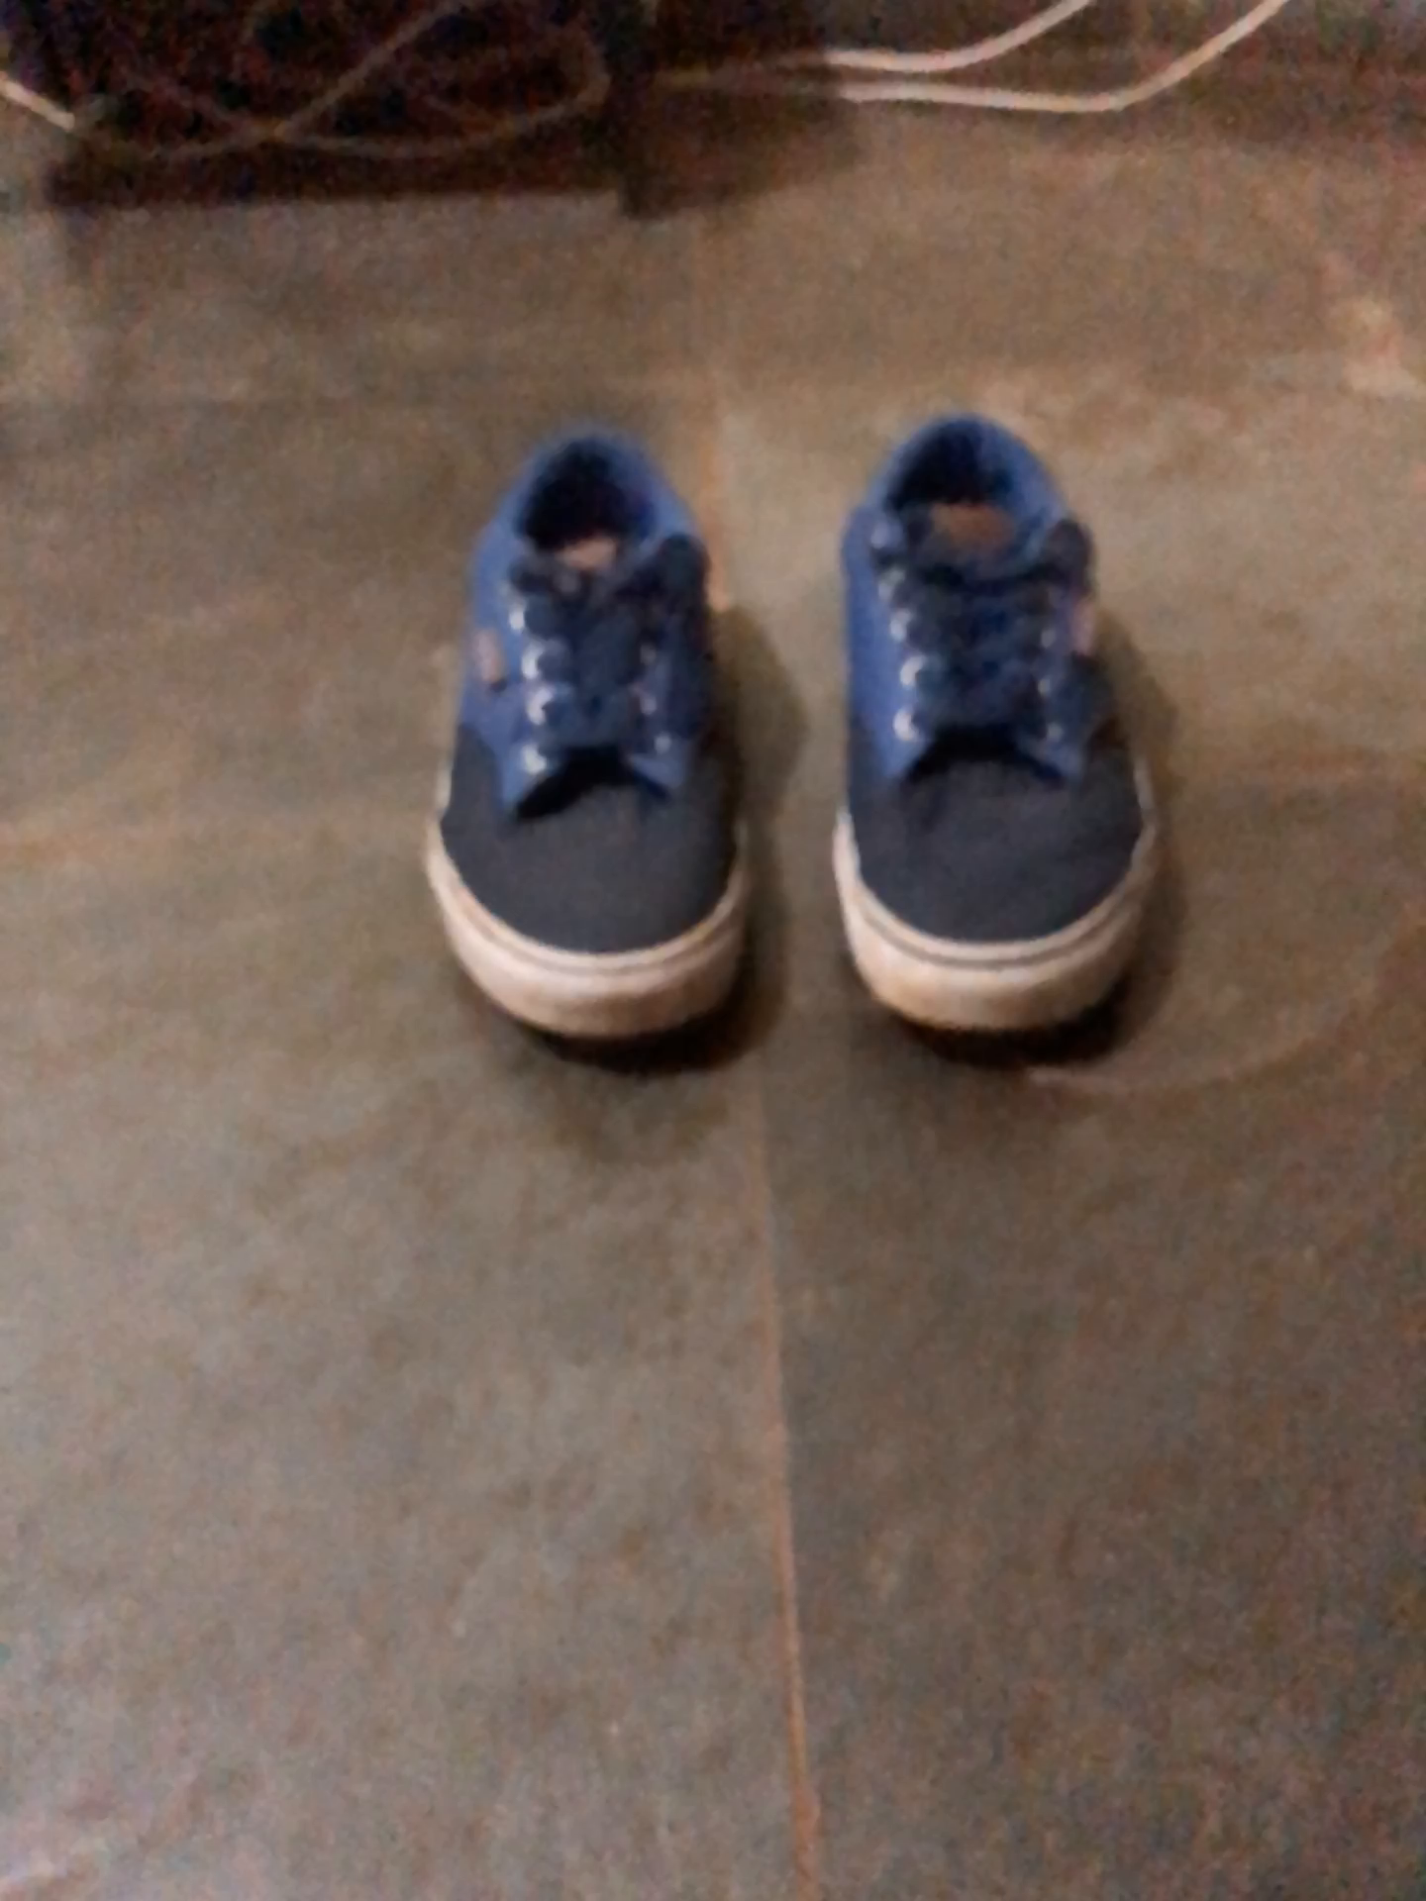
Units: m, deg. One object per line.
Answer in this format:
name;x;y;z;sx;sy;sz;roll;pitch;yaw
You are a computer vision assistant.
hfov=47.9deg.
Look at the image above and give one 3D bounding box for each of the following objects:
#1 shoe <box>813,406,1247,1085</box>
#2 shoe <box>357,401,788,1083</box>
shoe;0.091;-0.089;0.553;0.110;0.079;0.292;1;42;3
shoe;-0.043;-0.088;0.541;0.110;0.079;0.282;-3;42;-2
